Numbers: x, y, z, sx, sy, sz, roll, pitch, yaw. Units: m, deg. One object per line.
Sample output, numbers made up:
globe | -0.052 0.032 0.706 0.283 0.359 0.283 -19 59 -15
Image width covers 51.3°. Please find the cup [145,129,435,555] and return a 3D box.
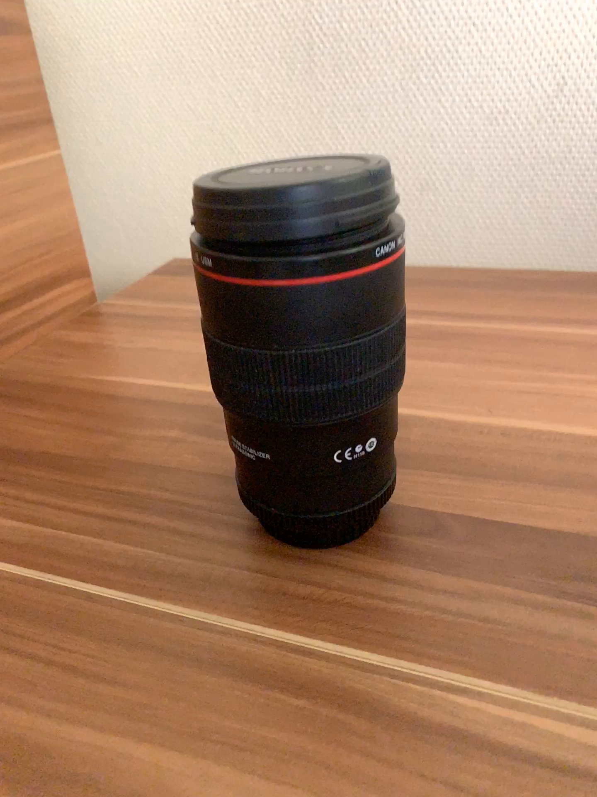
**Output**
cup | 0.004 -0.019 0.234 0.080 0.139 0.070 -2 30 5
